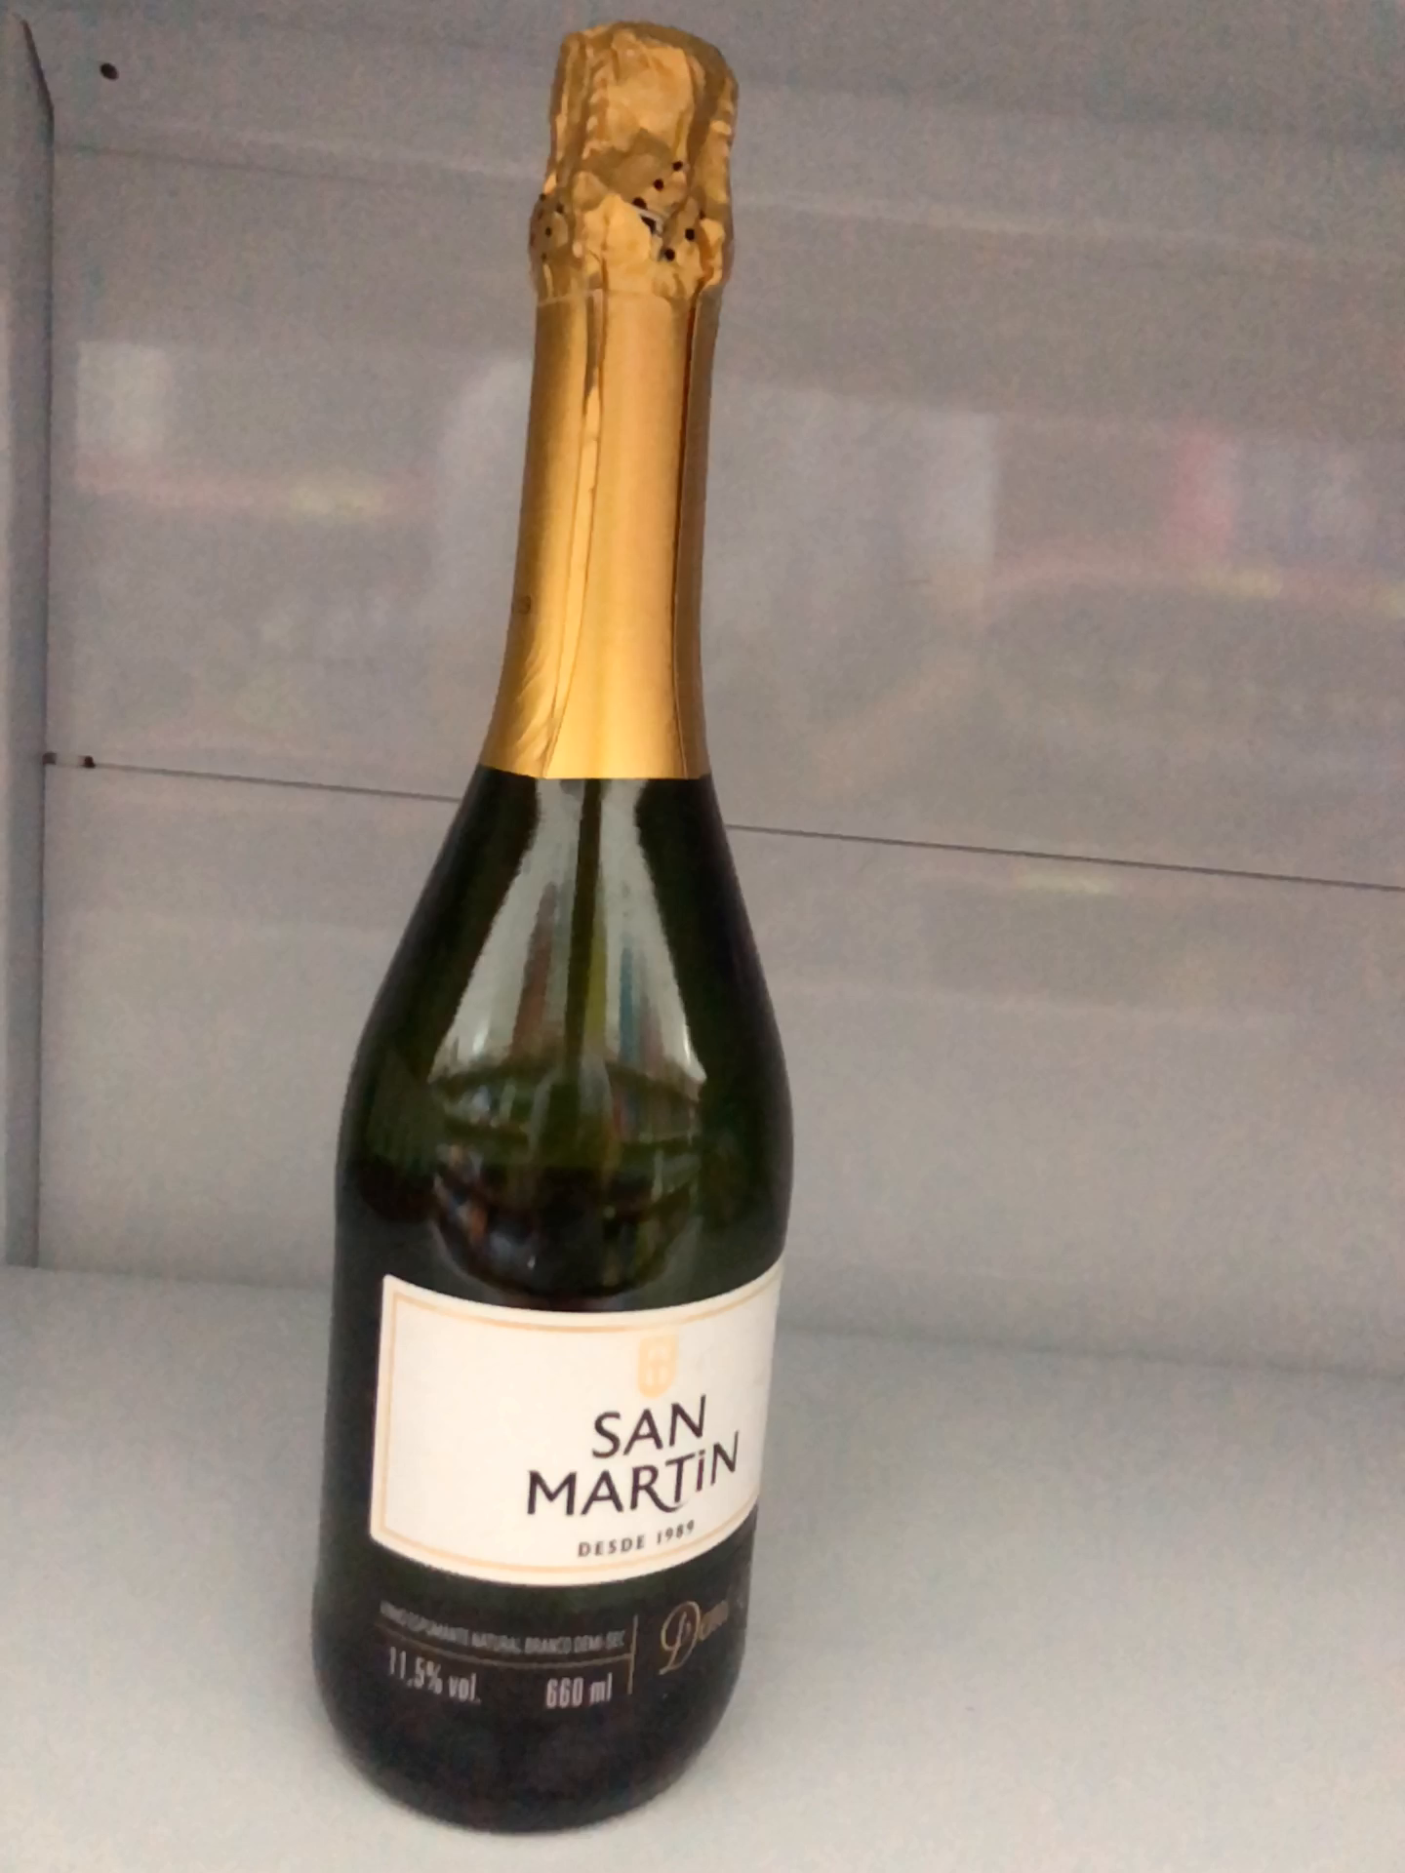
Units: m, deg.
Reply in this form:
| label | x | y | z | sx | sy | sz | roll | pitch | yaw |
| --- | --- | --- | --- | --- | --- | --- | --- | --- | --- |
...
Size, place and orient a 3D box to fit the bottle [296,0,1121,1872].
| label | x | y | z | sx | sy | sz | roll | pitch | yaw |
| --- | --- | --- | --- | --- | --- | --- | --- | --- | --- |
| bottle | -0.010 | -0.009 | 0.271 | 0.090 | 0.309 | 0.080 | 0 | 11 | -26 |
